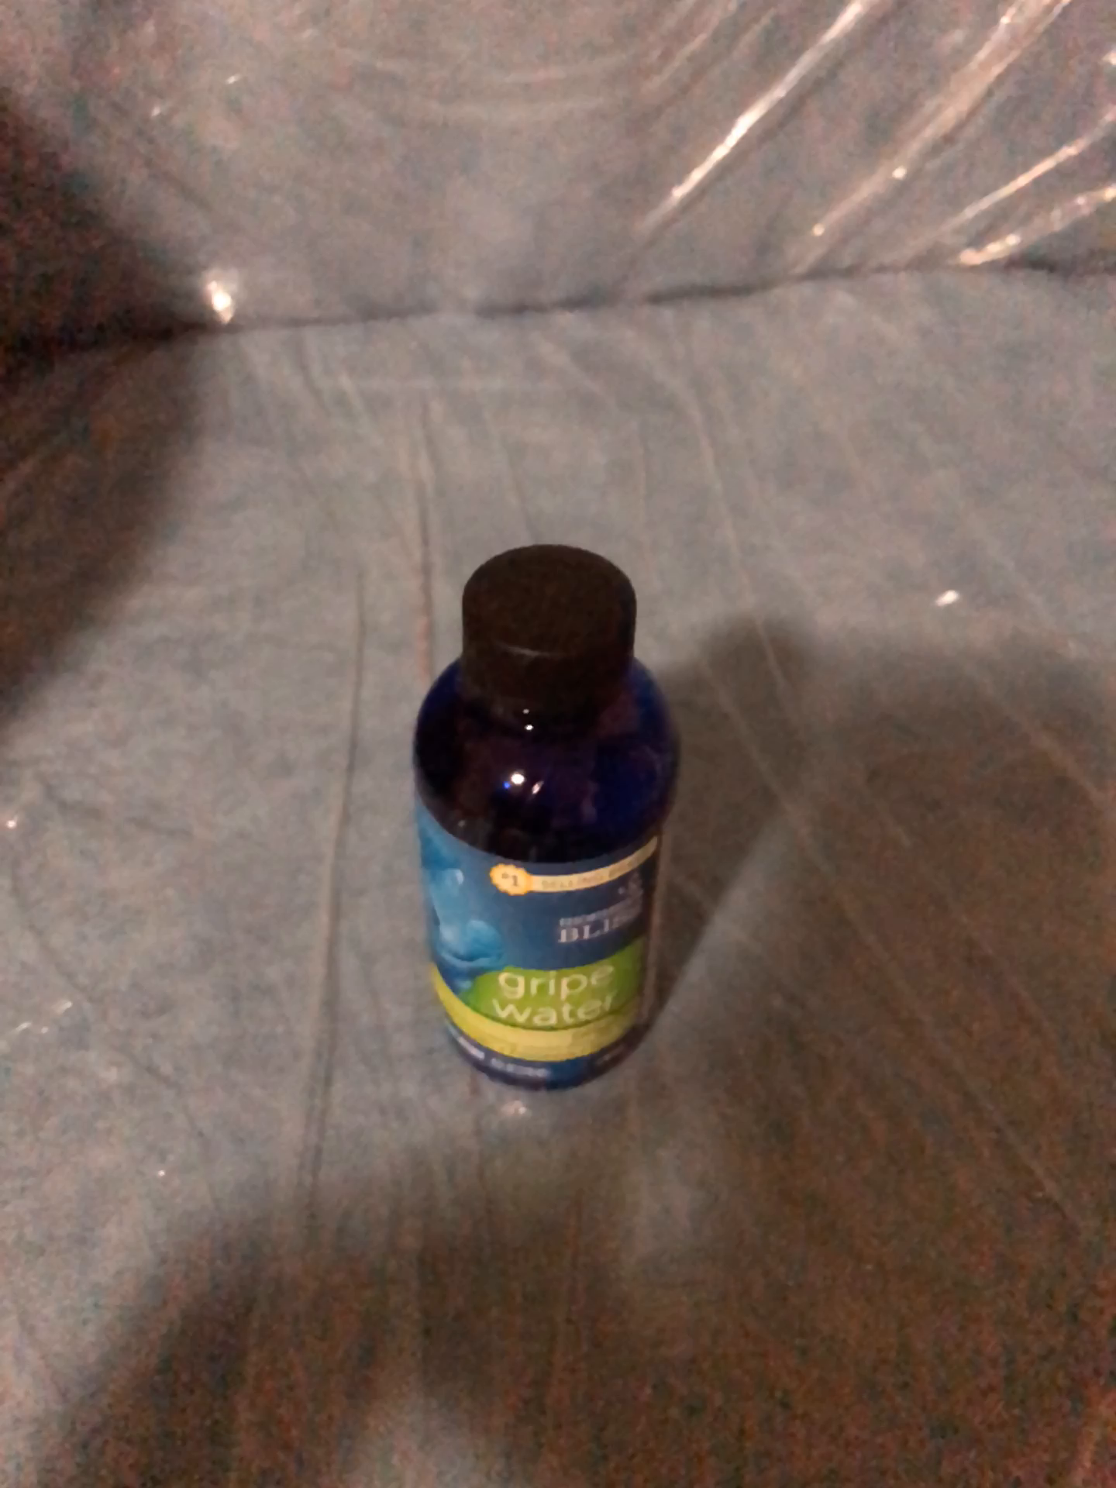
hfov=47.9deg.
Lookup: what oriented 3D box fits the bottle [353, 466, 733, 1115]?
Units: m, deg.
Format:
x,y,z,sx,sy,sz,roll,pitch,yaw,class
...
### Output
x,y,z,sx,sy,sz,roll,pitch,yaw,class
-0.001,0.016,0.232,0.050,0.120,0.050,1,49,-1,bottle
